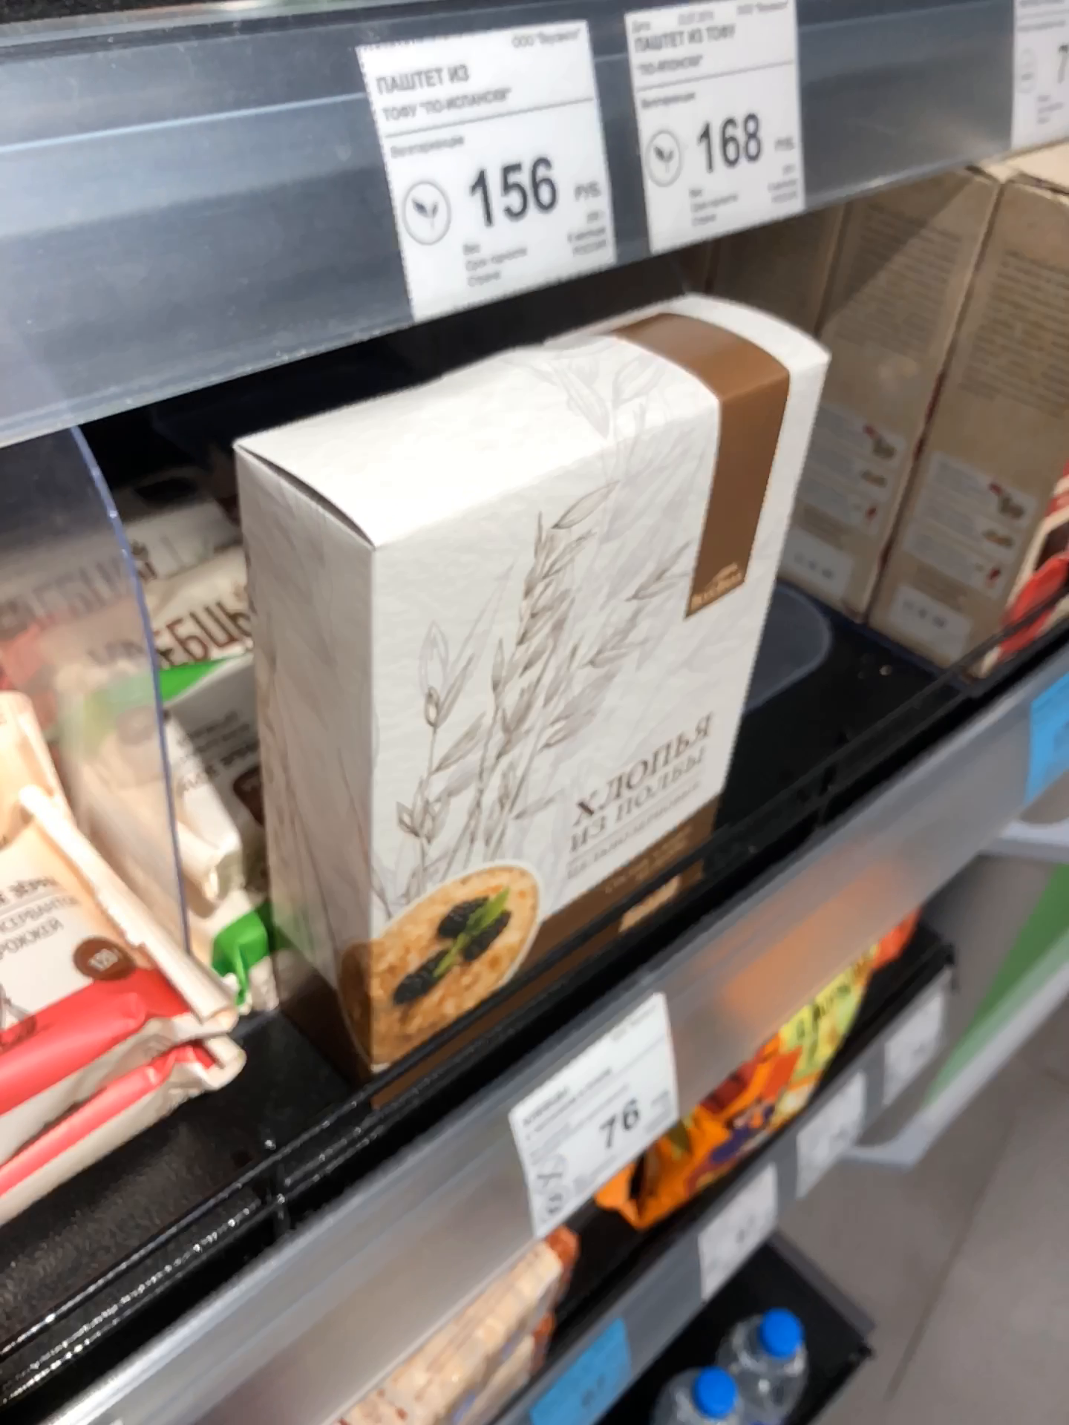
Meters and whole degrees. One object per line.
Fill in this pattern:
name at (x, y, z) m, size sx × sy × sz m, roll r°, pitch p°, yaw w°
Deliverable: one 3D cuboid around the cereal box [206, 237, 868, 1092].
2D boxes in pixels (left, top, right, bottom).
cereal box at (0.001, -0.010, 0.323) m, size 0.151 × 0.189 × 0.050 m, roll -29°, pitch 51°, yaw -33°
